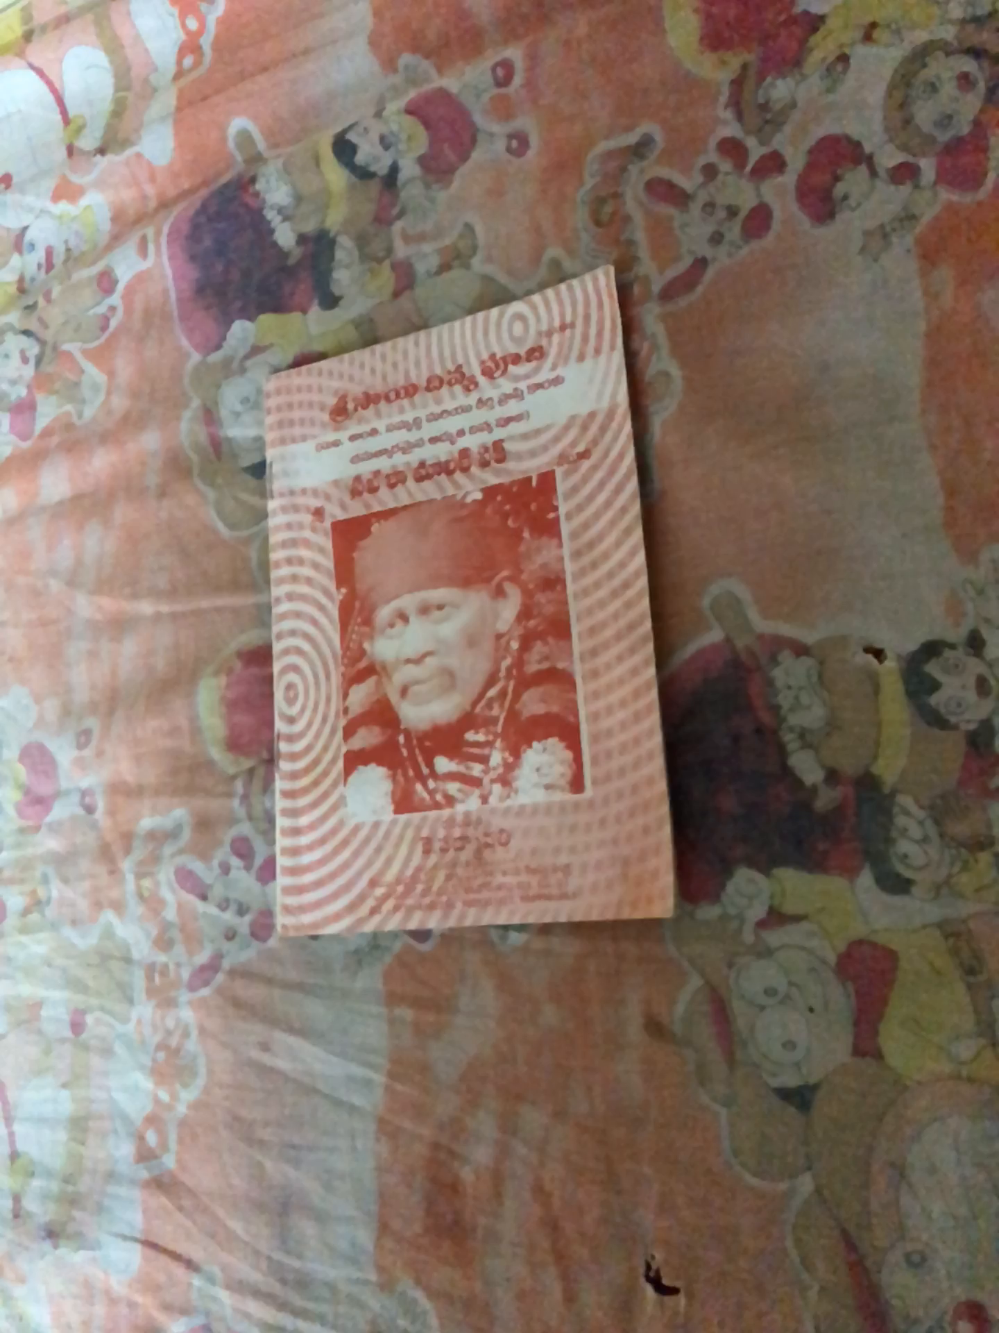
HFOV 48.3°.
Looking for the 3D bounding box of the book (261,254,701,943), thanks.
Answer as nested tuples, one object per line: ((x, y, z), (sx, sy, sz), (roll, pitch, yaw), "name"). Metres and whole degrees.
((-0.013, -0.015, 0.306), (0.120, 0.010, 0.173), (-9, 77, 24), "book")
